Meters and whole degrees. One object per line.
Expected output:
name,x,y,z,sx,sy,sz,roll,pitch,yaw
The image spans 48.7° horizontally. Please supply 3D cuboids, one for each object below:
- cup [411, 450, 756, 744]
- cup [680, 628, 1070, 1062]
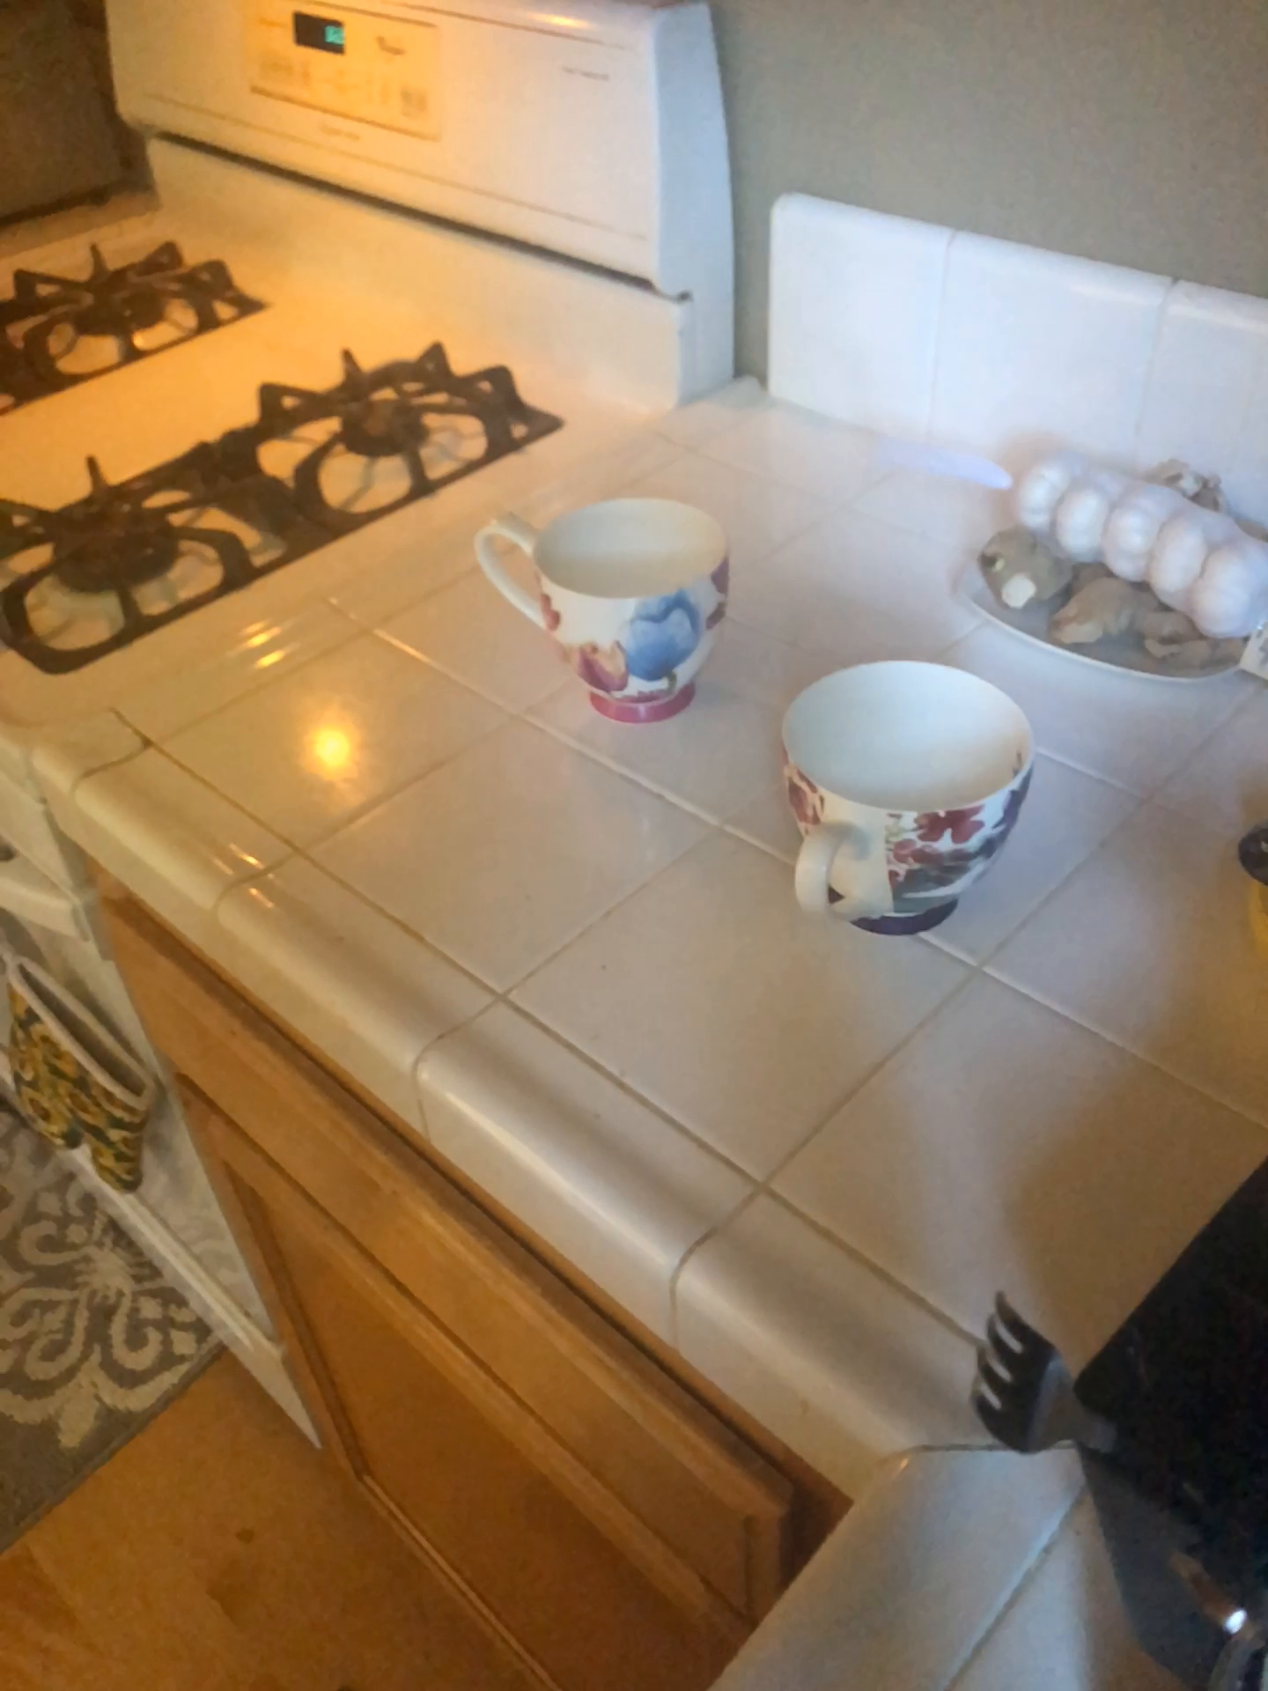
cup,-0.026,-0.142,0.778,0.150,0.079,0.111,26,50,29
cup,0.107,-0.007,0.616,0.110,0.089,0.151,20,47,25
